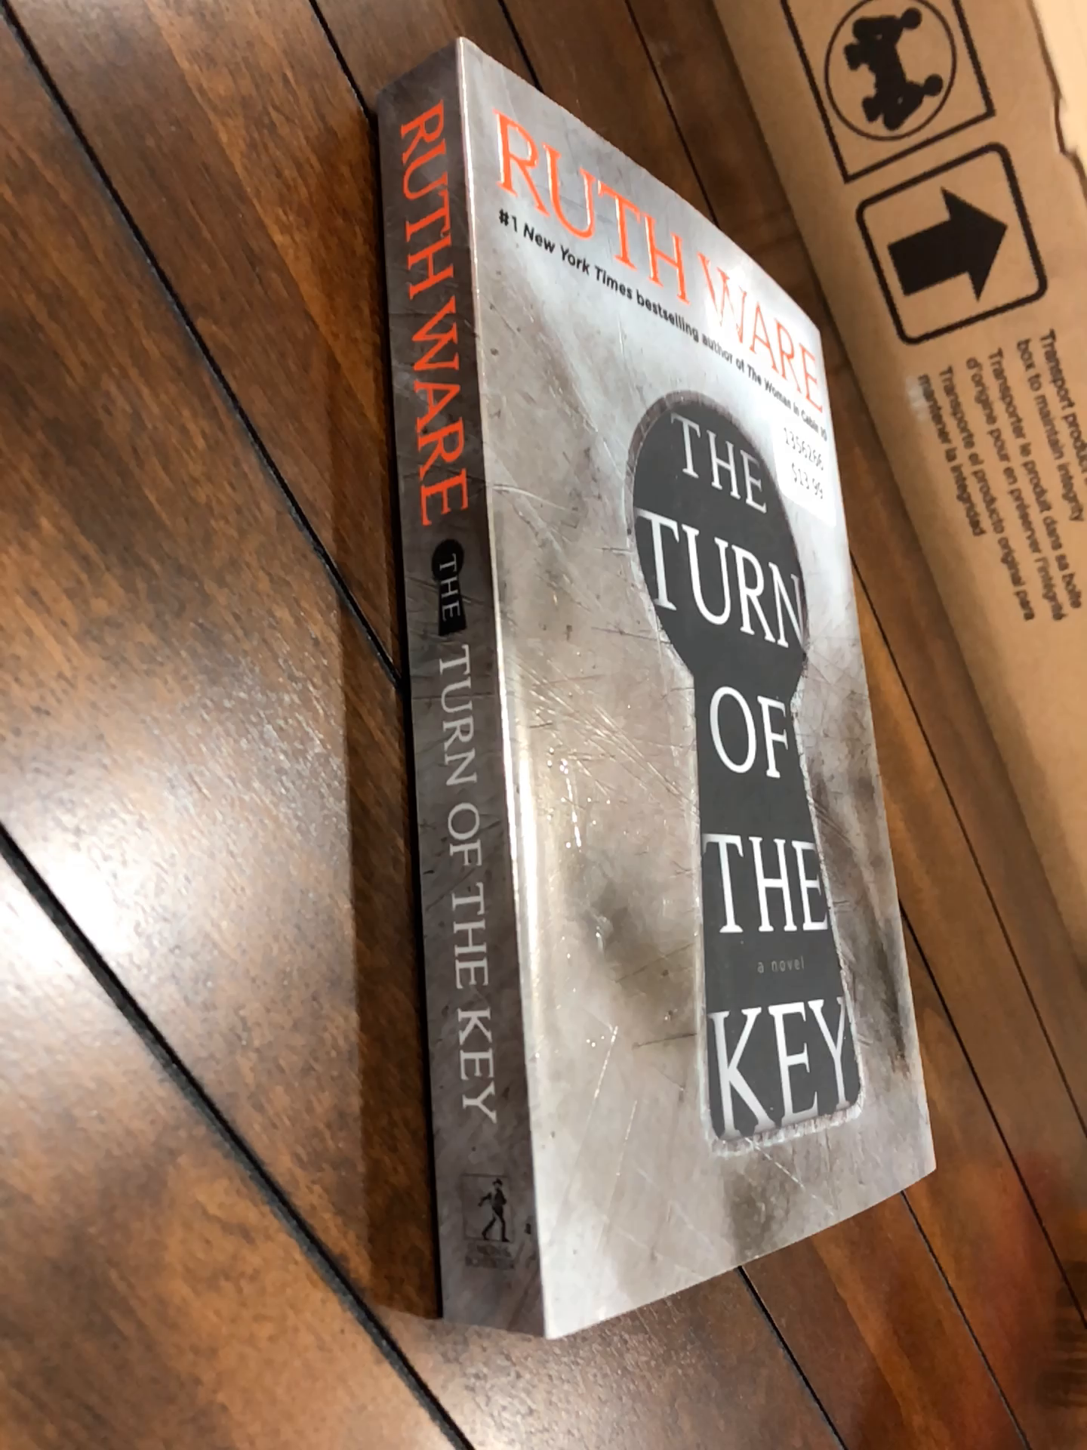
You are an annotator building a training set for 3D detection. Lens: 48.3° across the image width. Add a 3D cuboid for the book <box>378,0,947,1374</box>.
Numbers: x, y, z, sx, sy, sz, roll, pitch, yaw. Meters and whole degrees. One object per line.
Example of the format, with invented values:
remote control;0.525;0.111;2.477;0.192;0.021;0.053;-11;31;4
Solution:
book;0.034;-0.008;0.270;0.159;0.028;0.232;11;71;-53
